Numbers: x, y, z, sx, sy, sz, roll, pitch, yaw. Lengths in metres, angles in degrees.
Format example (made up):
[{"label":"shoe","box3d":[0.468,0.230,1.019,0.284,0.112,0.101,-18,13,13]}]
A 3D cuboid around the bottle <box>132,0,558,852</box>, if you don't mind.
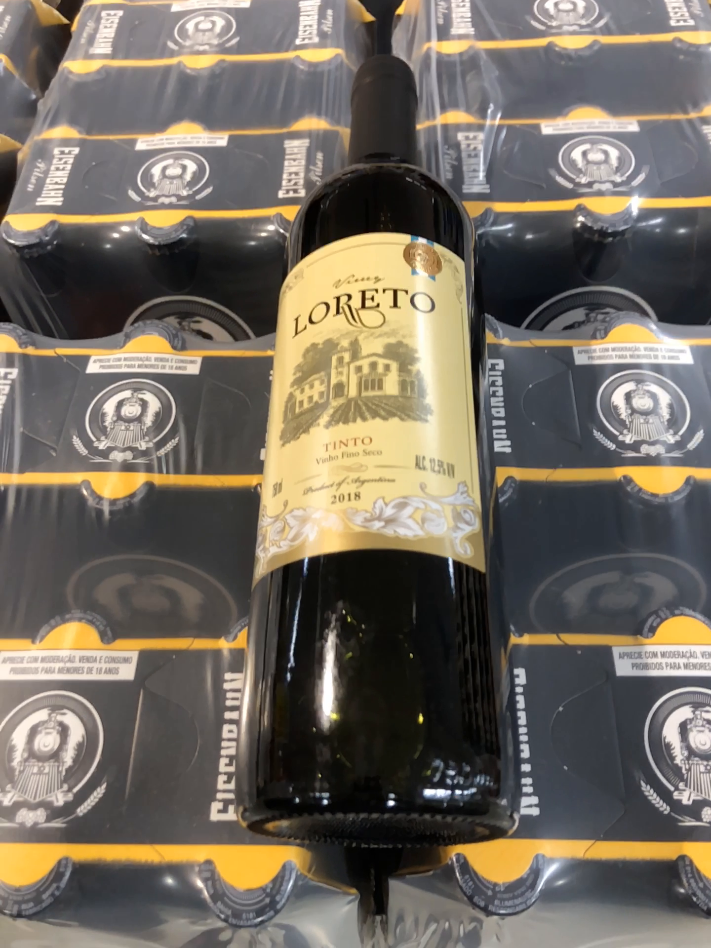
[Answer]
[{"label":"bottle","box3d":[0.007,-0.058,0.270,0.080,0.080,0.332,-7,58,14]}]
